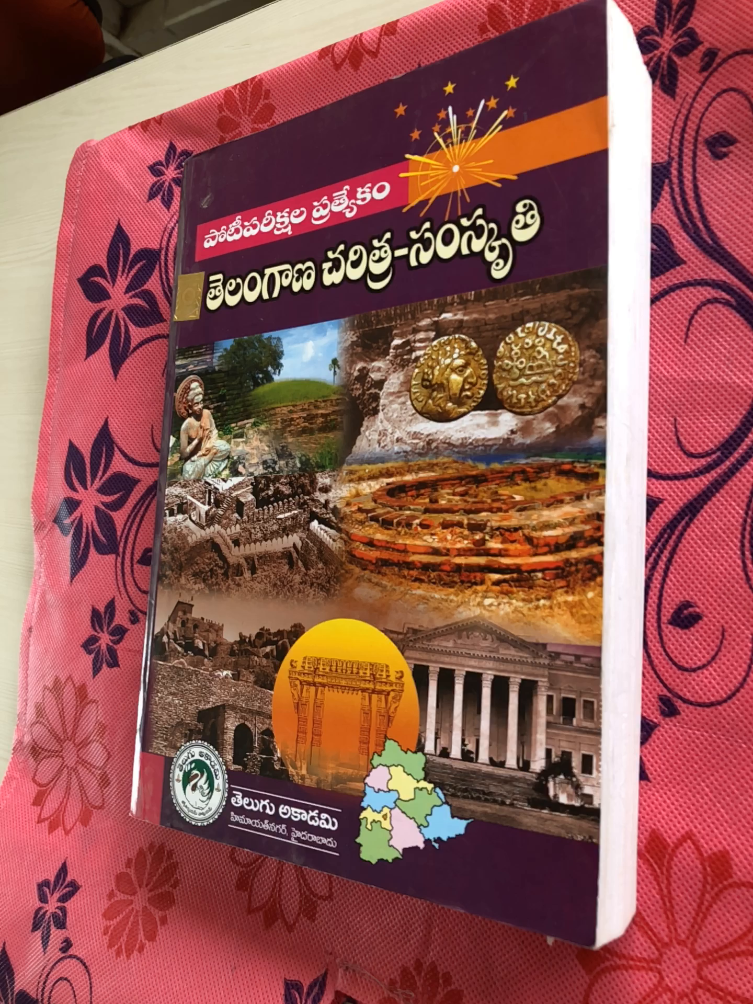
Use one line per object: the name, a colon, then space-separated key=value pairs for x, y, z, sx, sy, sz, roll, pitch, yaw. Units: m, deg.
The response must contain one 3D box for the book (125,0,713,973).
book: x=0.009 y=-0.018 z=0.298 sx=0.201 sy=0.050 sz=0.280 roll=-2 pitch=81 yaw=35
